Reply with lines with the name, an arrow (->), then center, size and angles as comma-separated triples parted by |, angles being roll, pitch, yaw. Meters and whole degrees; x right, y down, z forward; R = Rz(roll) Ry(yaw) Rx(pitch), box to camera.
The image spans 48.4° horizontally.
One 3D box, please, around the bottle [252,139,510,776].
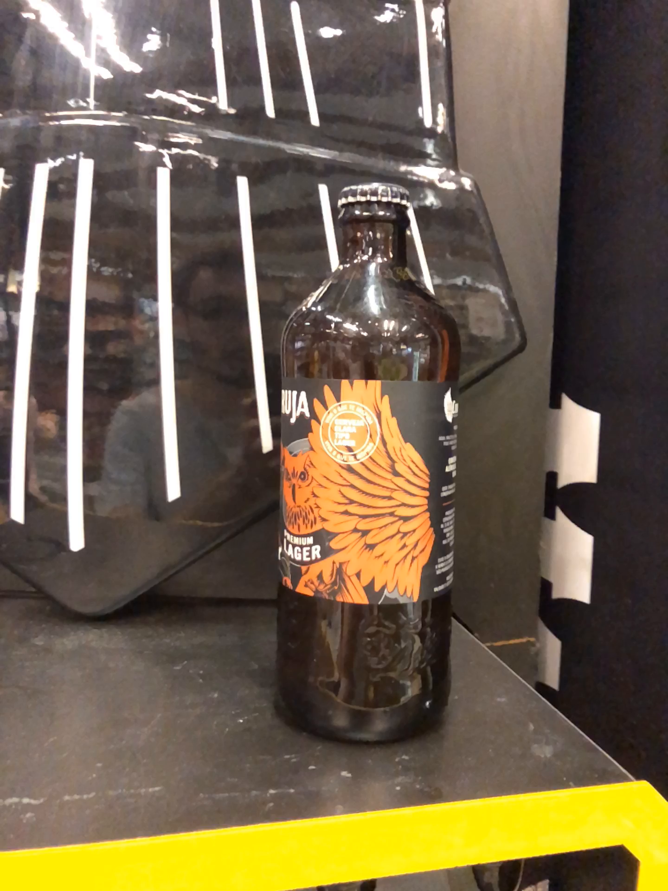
bottle -> 0.017, 0.003, 0.305 | 0.070, 0.220, 0.070 | 2, 4, 0
